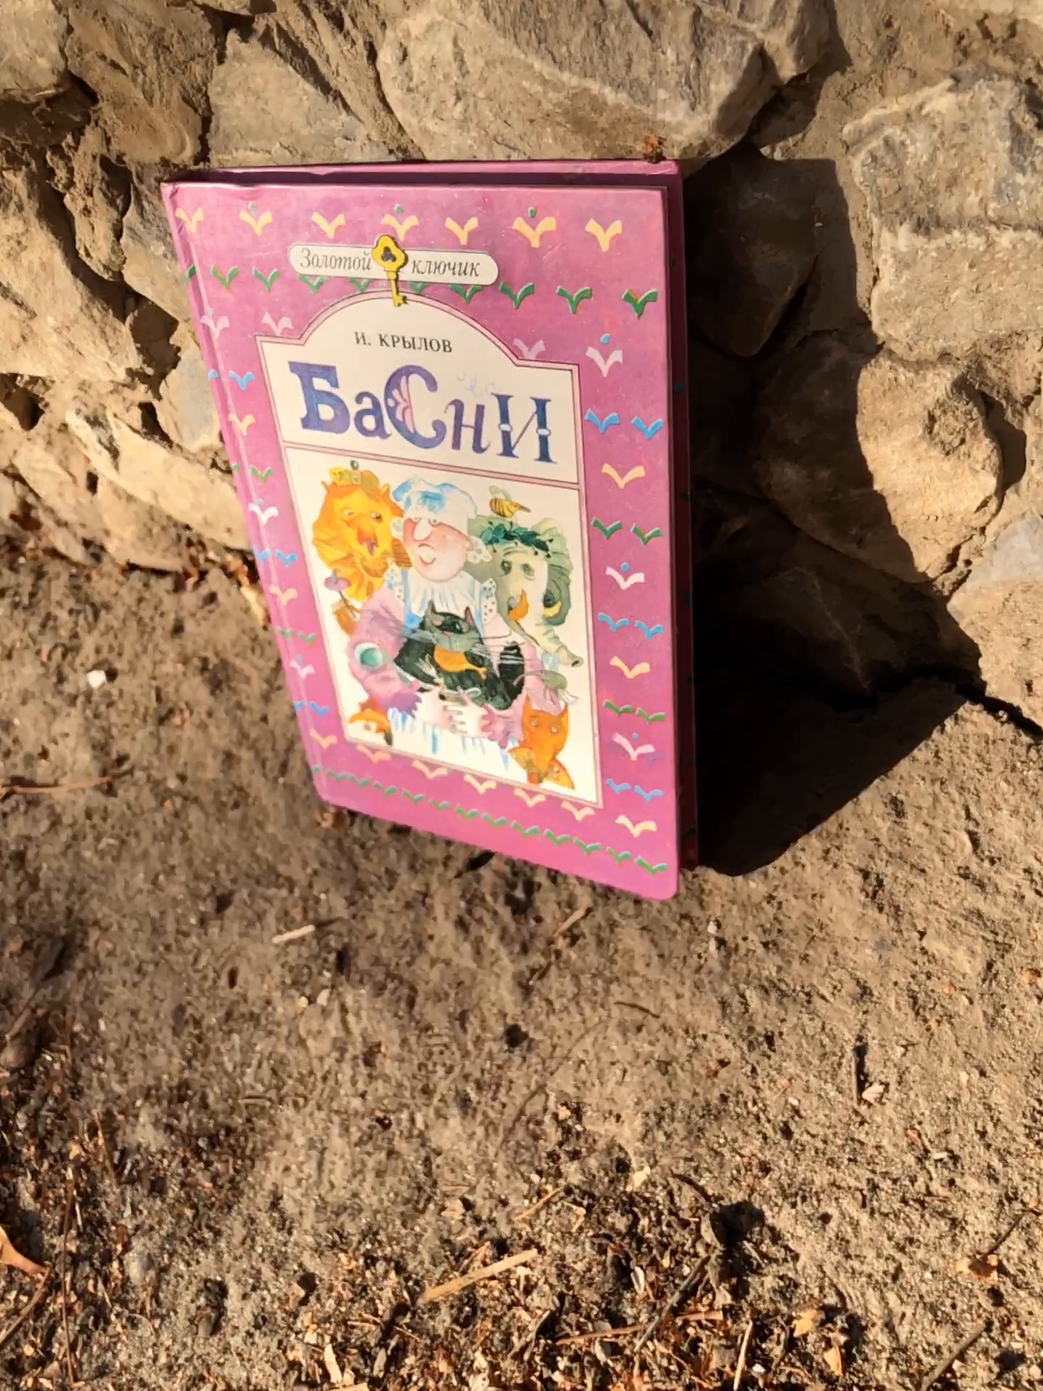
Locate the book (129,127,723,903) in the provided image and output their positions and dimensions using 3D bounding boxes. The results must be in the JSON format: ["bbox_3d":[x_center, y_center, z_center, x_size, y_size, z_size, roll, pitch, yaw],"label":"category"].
[{"bbox_3d":[-0.019,-0.043,0.320,0.142,0.201,0.025,13,38,24],"label":"book"}]
